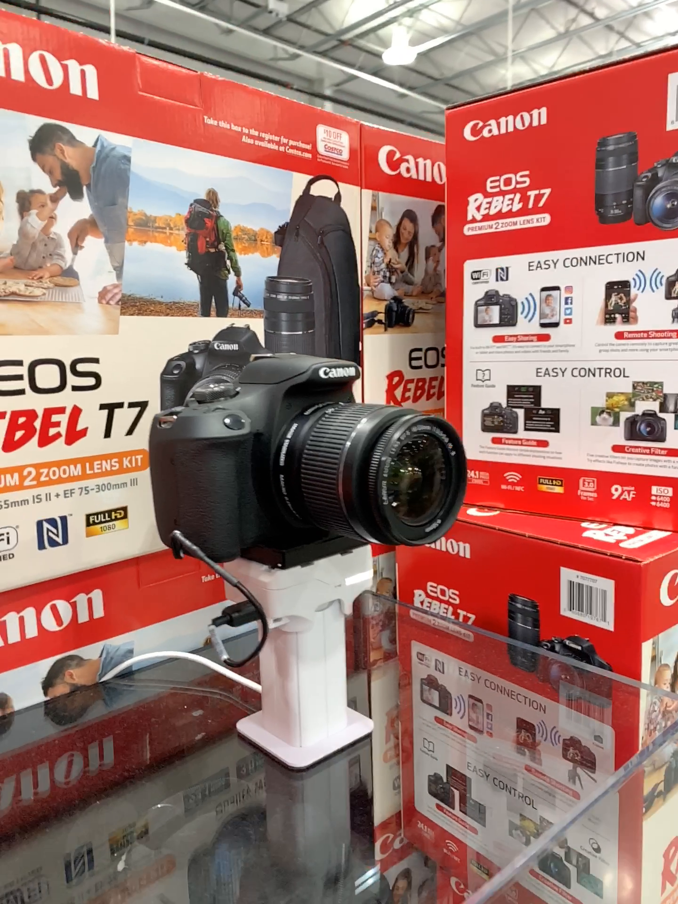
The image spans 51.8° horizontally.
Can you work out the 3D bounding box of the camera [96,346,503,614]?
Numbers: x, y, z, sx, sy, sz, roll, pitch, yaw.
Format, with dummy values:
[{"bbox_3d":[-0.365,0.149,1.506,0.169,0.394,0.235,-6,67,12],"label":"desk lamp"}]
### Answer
[{"bbox_3d":[-0.024,-0.004,0.366,0.140,0.100,0.160,-8,11,-40],"label":"camera"}]
